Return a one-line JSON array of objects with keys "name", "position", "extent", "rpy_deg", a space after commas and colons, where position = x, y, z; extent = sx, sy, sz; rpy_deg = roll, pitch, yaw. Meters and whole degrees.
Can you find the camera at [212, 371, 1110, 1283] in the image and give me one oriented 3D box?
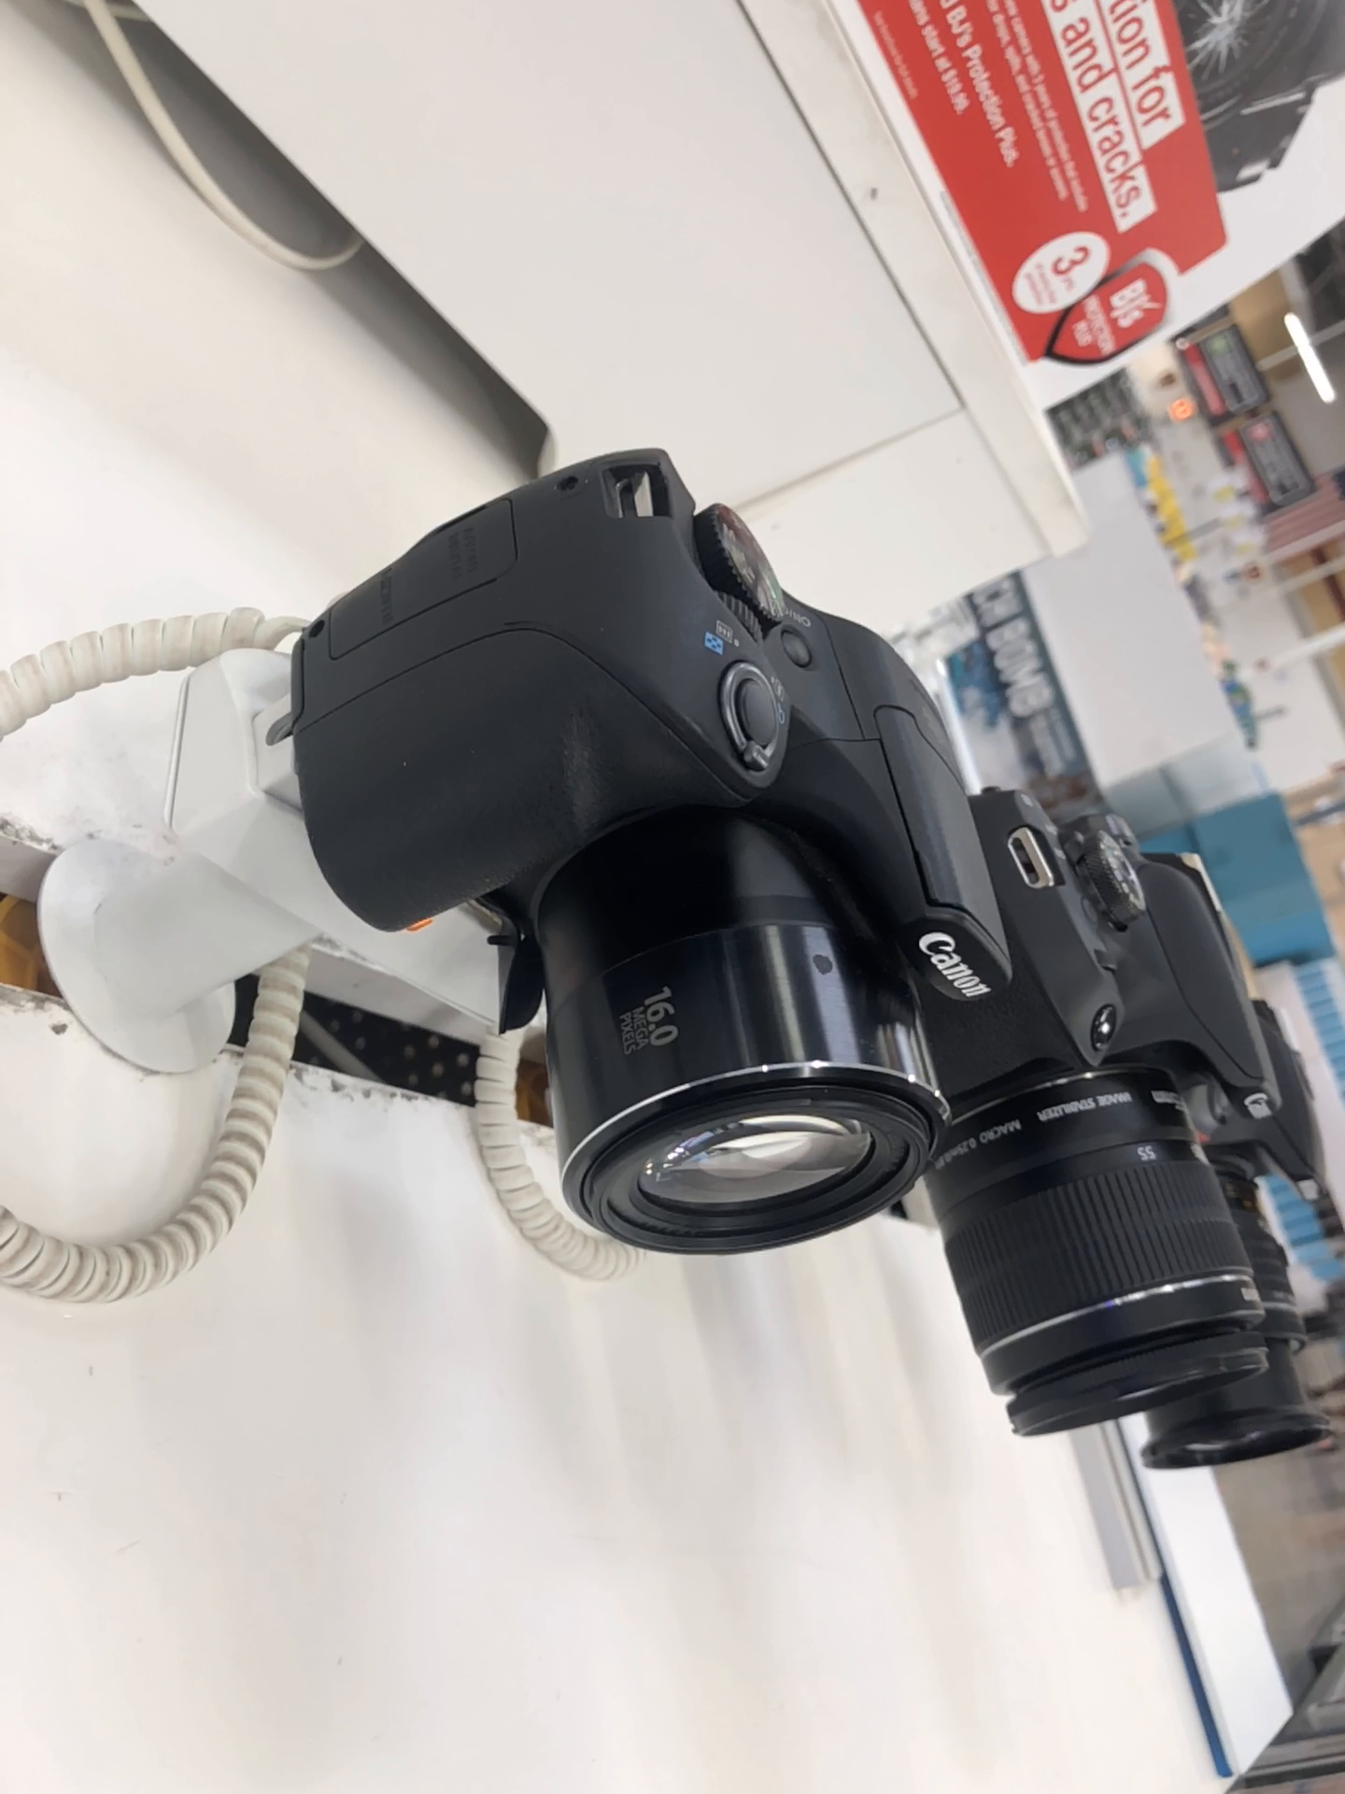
[{"name": "camera", "position": [0.003, 0.001, 0.248], "extent": [0.120, 0.090, 0.080], "rpy_deg": [40, 34, -51]}]
